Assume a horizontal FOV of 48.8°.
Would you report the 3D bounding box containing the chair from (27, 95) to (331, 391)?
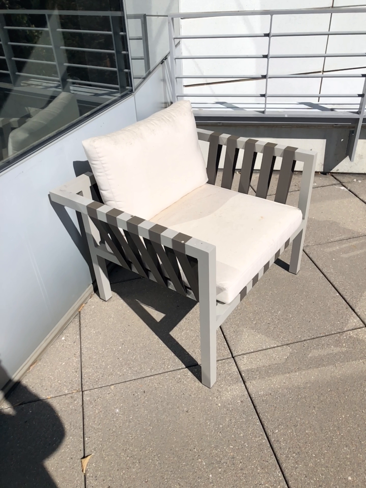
[{"bbox_3d":[0.040,-0.105,1.714,0.782,0.736,0.872,19,40,29],"label":"chair"}]
